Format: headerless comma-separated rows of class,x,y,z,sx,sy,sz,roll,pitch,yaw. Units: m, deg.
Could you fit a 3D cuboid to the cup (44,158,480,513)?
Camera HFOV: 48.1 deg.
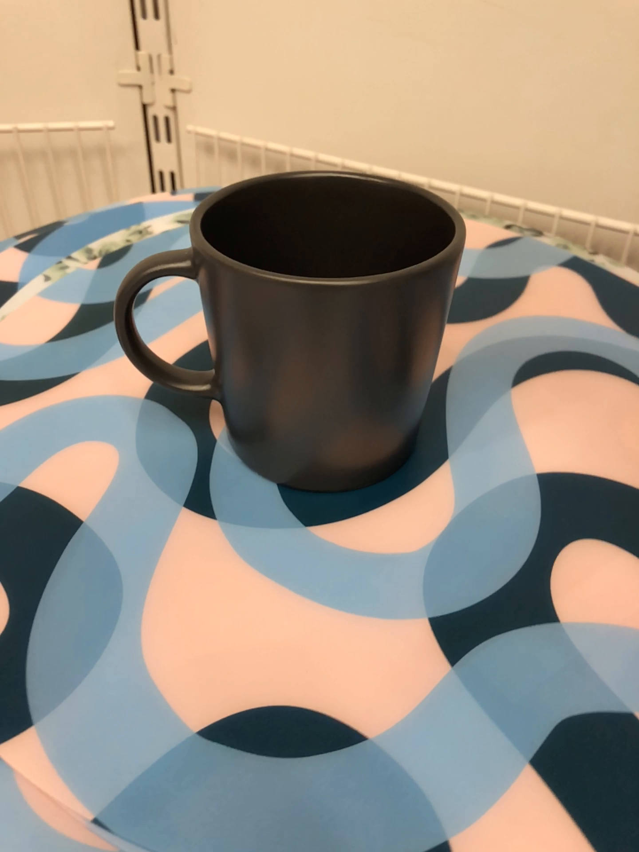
cup,-0.015,-0.036,0.260,0.120,0.090,0.090,3,37,1
